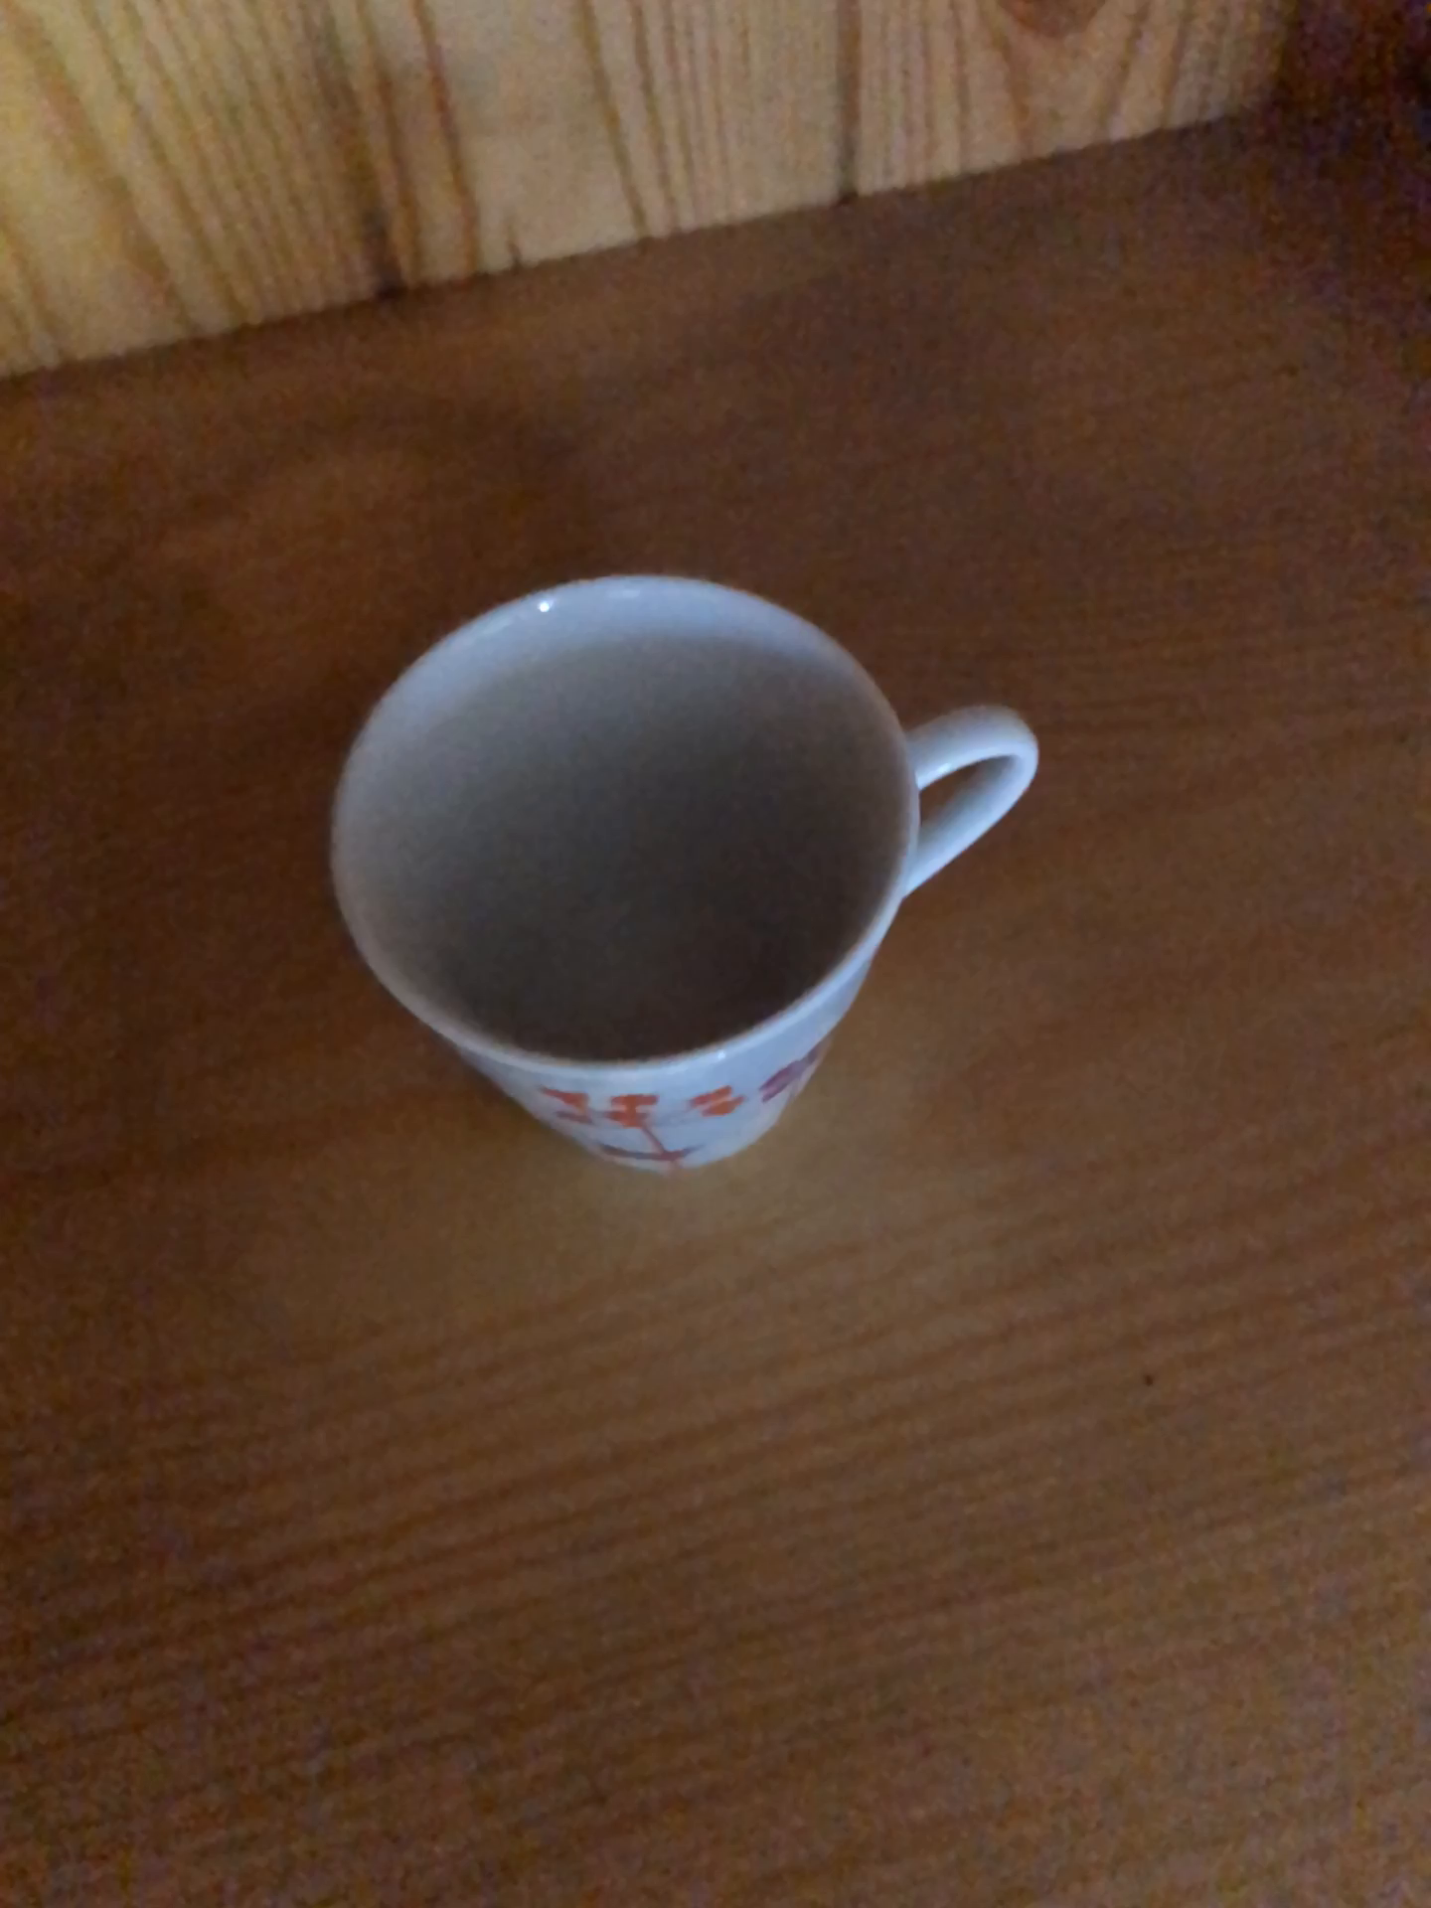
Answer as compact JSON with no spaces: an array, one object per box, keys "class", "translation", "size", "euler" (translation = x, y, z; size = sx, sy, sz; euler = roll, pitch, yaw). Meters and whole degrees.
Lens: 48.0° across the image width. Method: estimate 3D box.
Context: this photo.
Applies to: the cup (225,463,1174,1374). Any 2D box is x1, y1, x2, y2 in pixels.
[{"class":"cup","translation":[-0.004,-0.004,0.192],"size":[0.080,0.050,0.070],"euler":[-21,62,-8]}]
